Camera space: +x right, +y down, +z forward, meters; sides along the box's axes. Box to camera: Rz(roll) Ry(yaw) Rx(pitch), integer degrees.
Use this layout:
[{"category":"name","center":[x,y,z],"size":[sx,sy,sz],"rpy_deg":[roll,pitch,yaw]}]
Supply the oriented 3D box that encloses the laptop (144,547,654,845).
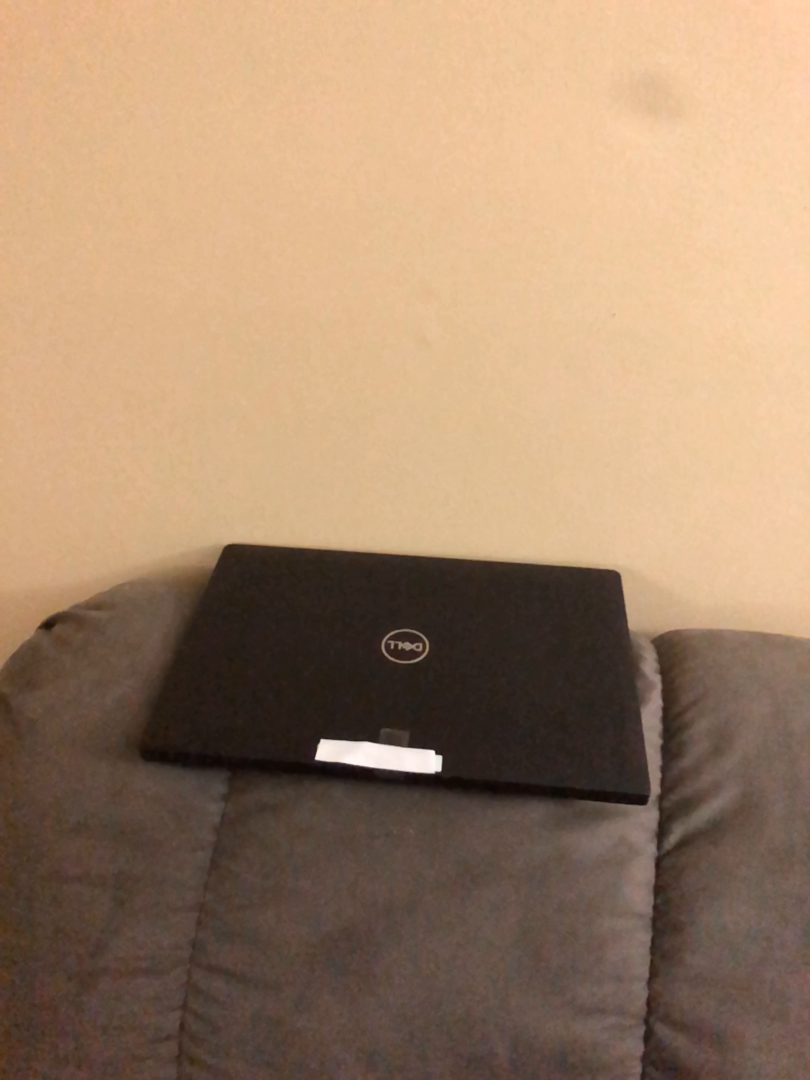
[{"category":"laptop","center":[0.002,0.098,0.654],"size":[0.326,0.030,0.215],"rpy_deg":[5,38,7]}]
